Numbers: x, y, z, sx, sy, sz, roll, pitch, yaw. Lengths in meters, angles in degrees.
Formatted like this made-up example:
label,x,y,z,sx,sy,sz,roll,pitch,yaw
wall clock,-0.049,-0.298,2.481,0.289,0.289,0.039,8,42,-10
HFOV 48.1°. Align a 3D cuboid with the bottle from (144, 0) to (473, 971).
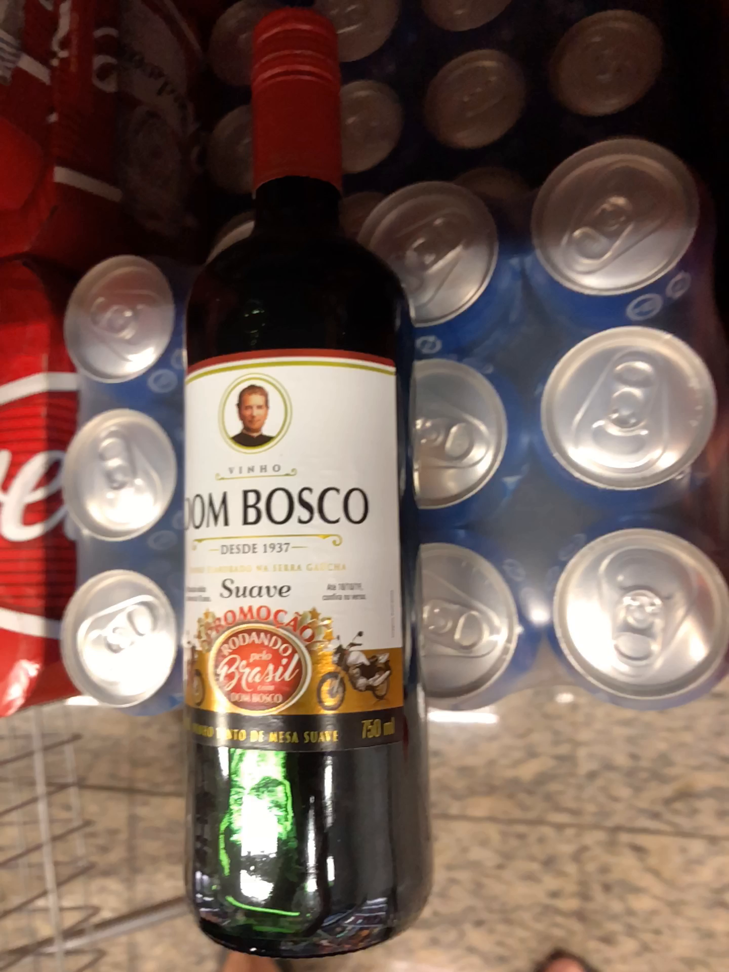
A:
label,x,y,z,sx,sy,sz,roll,pitch,yaw
bottle,-0.016,-0.023,0.265,0.080,0.070,0.300,-3,85,20
